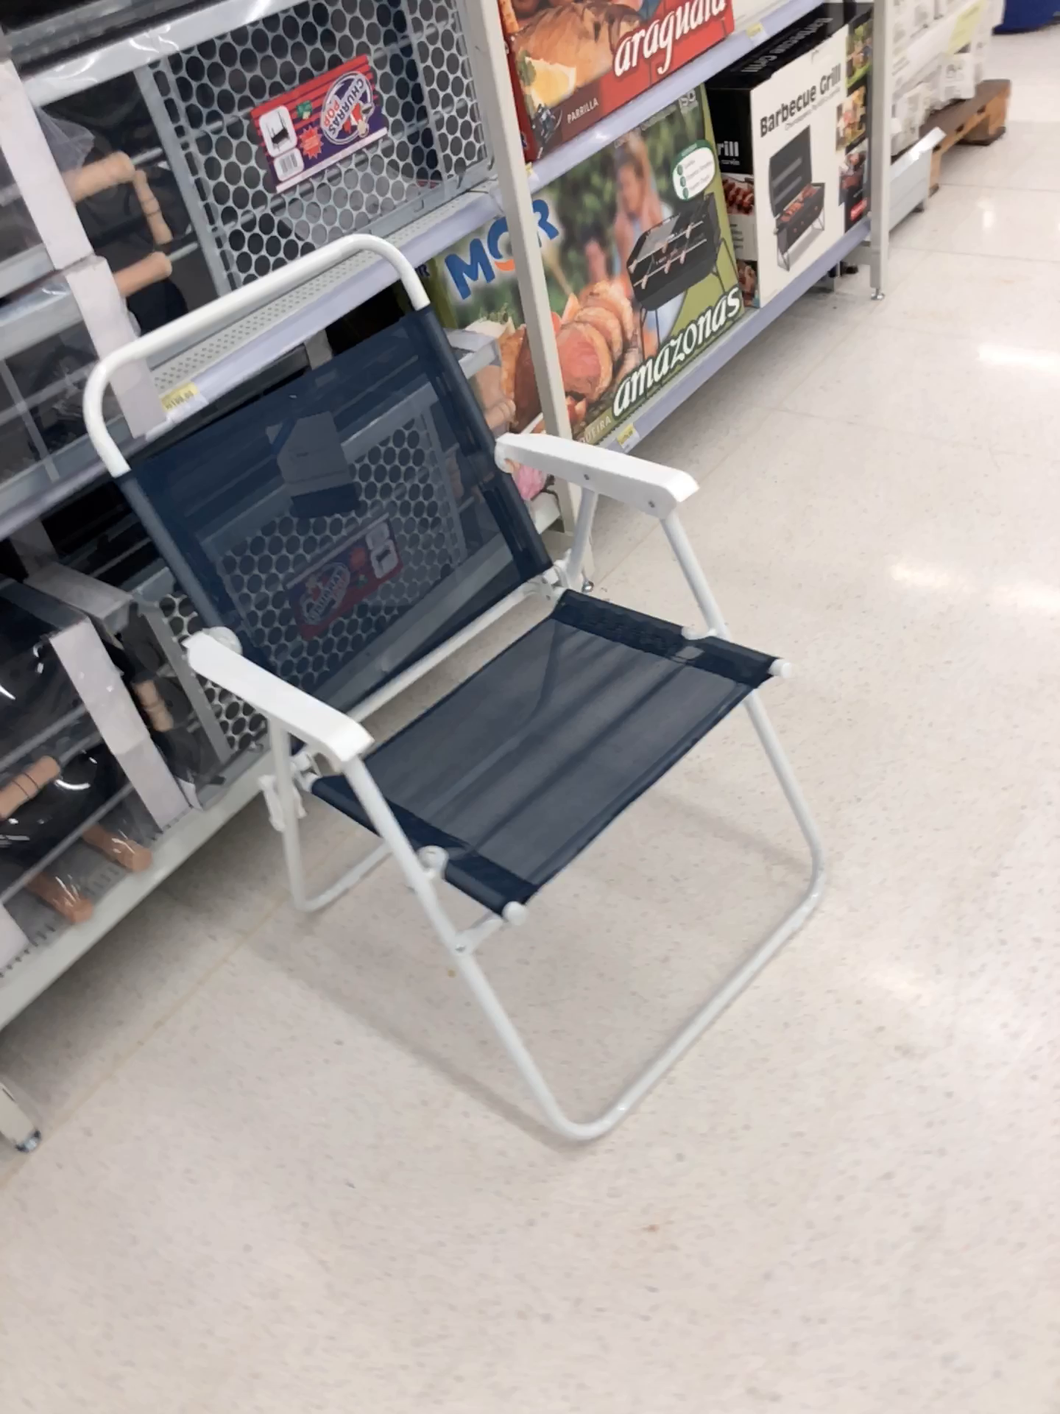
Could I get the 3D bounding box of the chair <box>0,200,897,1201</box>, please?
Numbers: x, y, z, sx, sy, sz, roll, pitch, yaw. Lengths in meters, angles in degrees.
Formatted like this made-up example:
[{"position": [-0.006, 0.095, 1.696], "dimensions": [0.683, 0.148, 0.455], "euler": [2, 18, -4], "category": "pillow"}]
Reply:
[{"position": [-0.050, -0.042, 1.272], "dimensions": [0.653, 0.734, 0.542], "euler": [28, 55, 37], "category": "chair"}]
